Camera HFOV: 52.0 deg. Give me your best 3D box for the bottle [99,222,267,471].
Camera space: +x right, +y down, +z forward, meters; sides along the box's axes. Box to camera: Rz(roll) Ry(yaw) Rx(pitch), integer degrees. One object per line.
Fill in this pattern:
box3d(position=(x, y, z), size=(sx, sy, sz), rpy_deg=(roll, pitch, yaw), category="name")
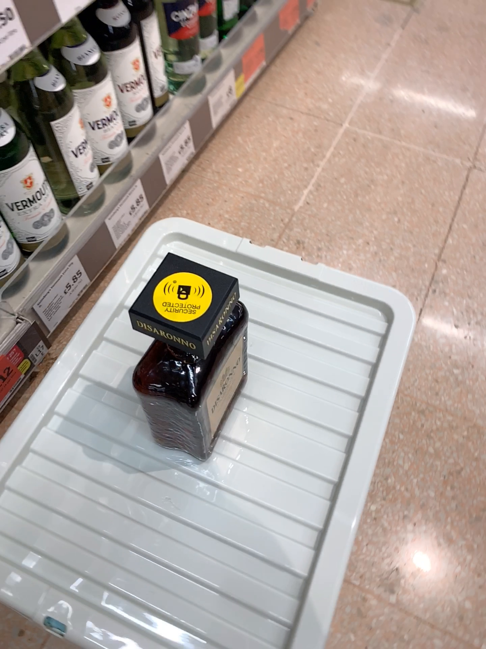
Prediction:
box3d(position=(-0.039, 0.033, 0.429), size=(0.070, 0.209, 0.111), rpy_deg=(21, 61, 12), category="bottle")
